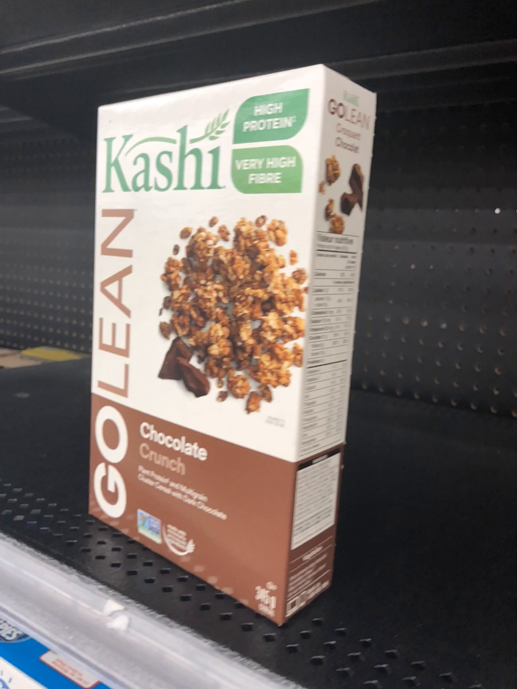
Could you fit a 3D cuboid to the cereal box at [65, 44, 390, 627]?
[{"bbox_3d":[-0.033,-0.010,0.322,0.180,0.250,0.050,11,10,39],"label":"cereal box"}]
